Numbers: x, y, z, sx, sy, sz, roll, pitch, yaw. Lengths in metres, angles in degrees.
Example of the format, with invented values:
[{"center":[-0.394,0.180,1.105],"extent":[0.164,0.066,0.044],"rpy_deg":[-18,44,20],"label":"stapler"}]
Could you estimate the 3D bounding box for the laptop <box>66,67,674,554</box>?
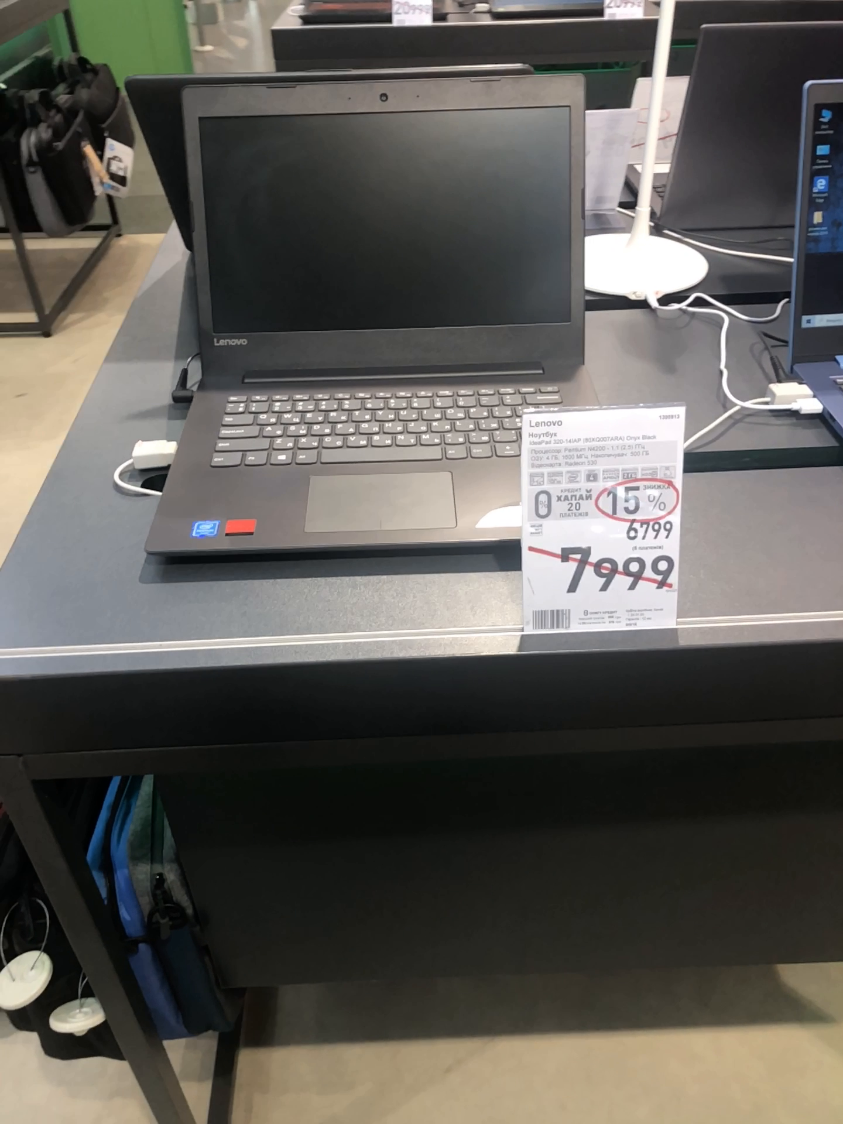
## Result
[{"center":[-0.032,-0.212,0.705],"extent":[0.330,0.205,0.363],"rpy_deg":[-2,40,-1],"label":"laptop"}]
